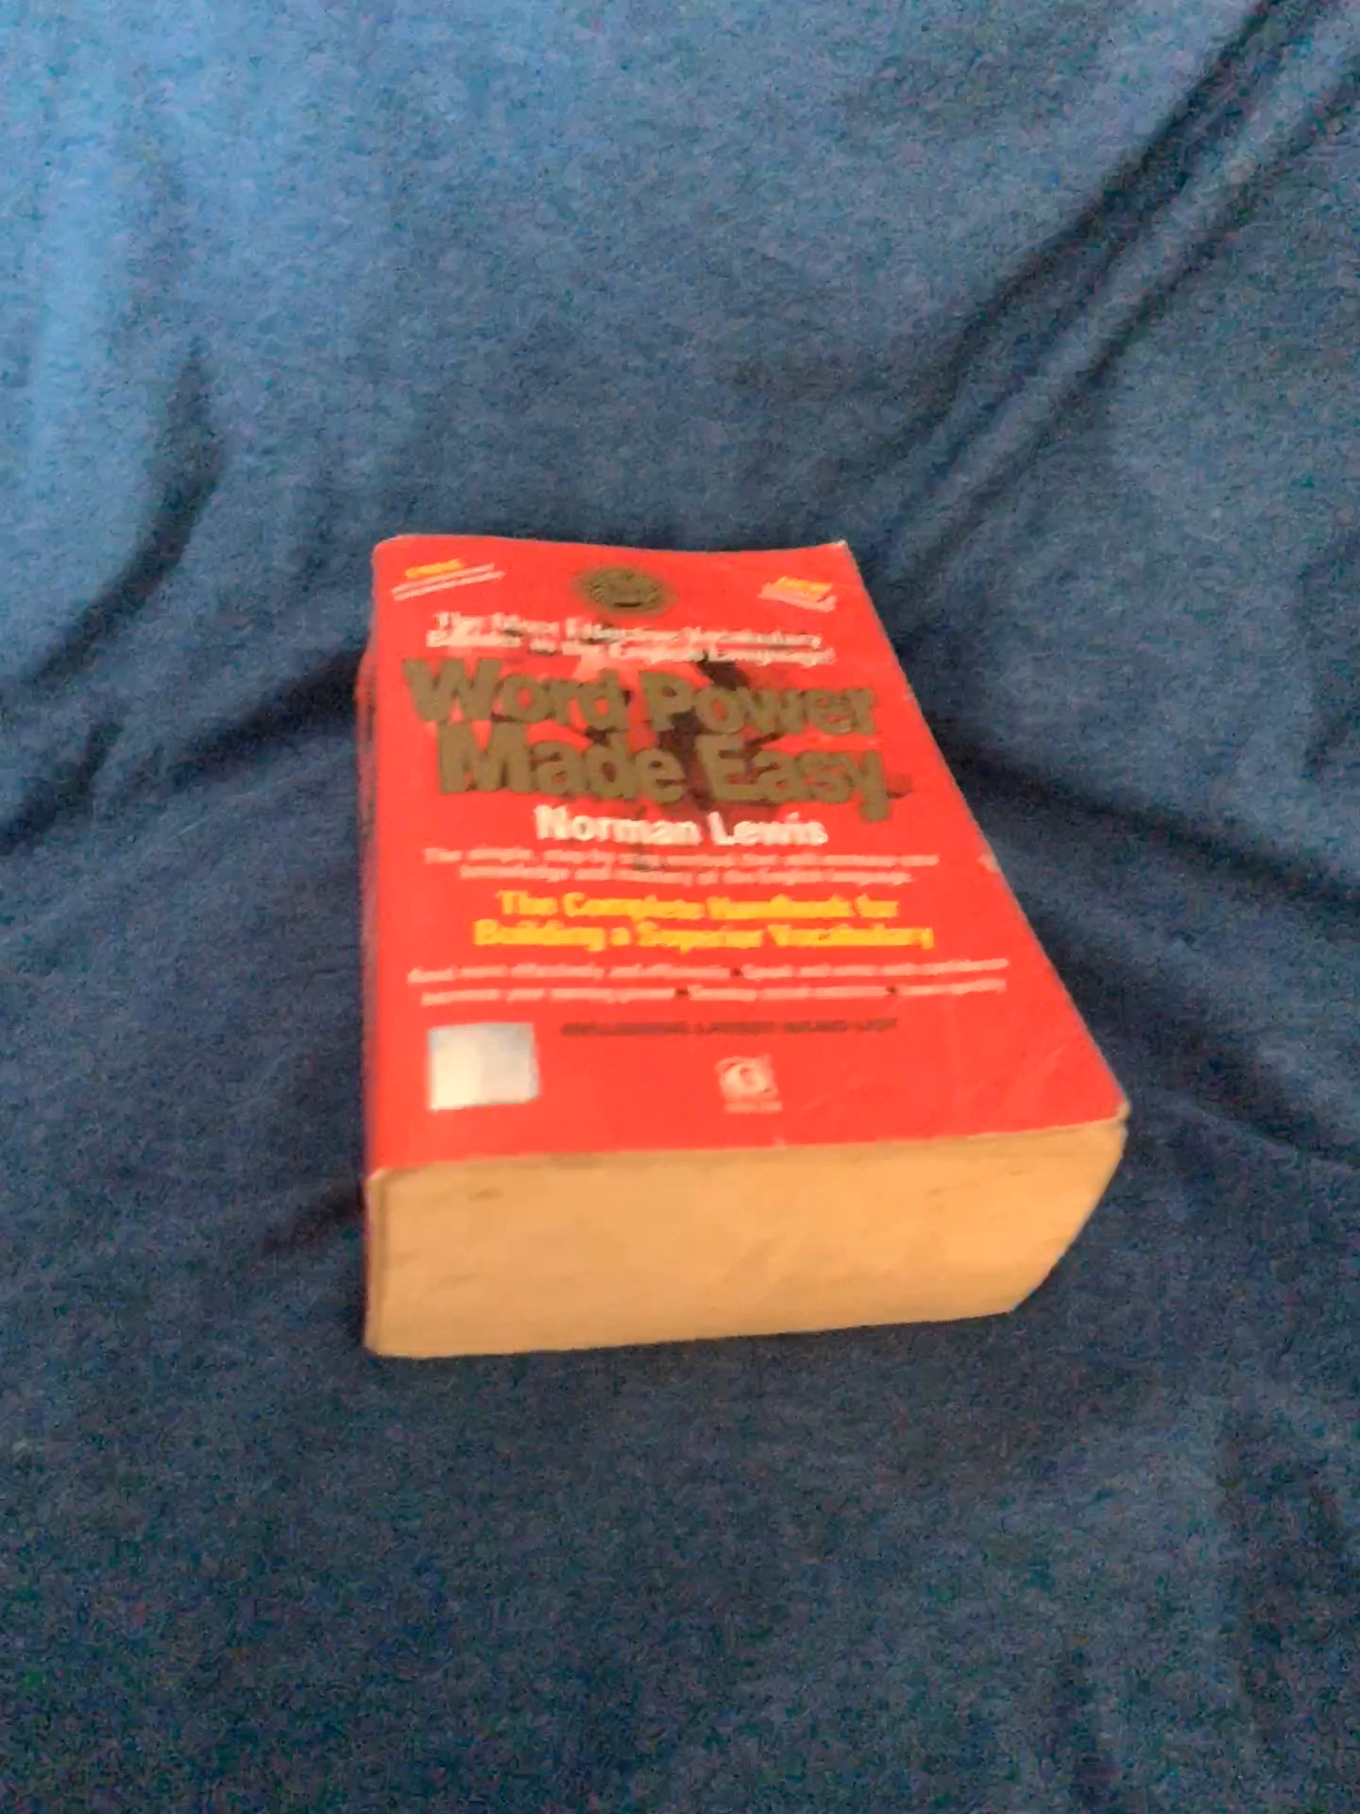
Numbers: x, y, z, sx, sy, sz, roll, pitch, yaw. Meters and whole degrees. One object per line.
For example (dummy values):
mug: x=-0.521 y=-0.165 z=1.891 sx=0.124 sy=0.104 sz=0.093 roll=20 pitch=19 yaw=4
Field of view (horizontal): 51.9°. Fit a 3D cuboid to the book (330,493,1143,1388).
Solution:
book: x=-0.009 y=-0.010 z=0.282 sx=0.120 sy=0.050 sz=0.191 roll=0 pitch=44 yaw=-14
